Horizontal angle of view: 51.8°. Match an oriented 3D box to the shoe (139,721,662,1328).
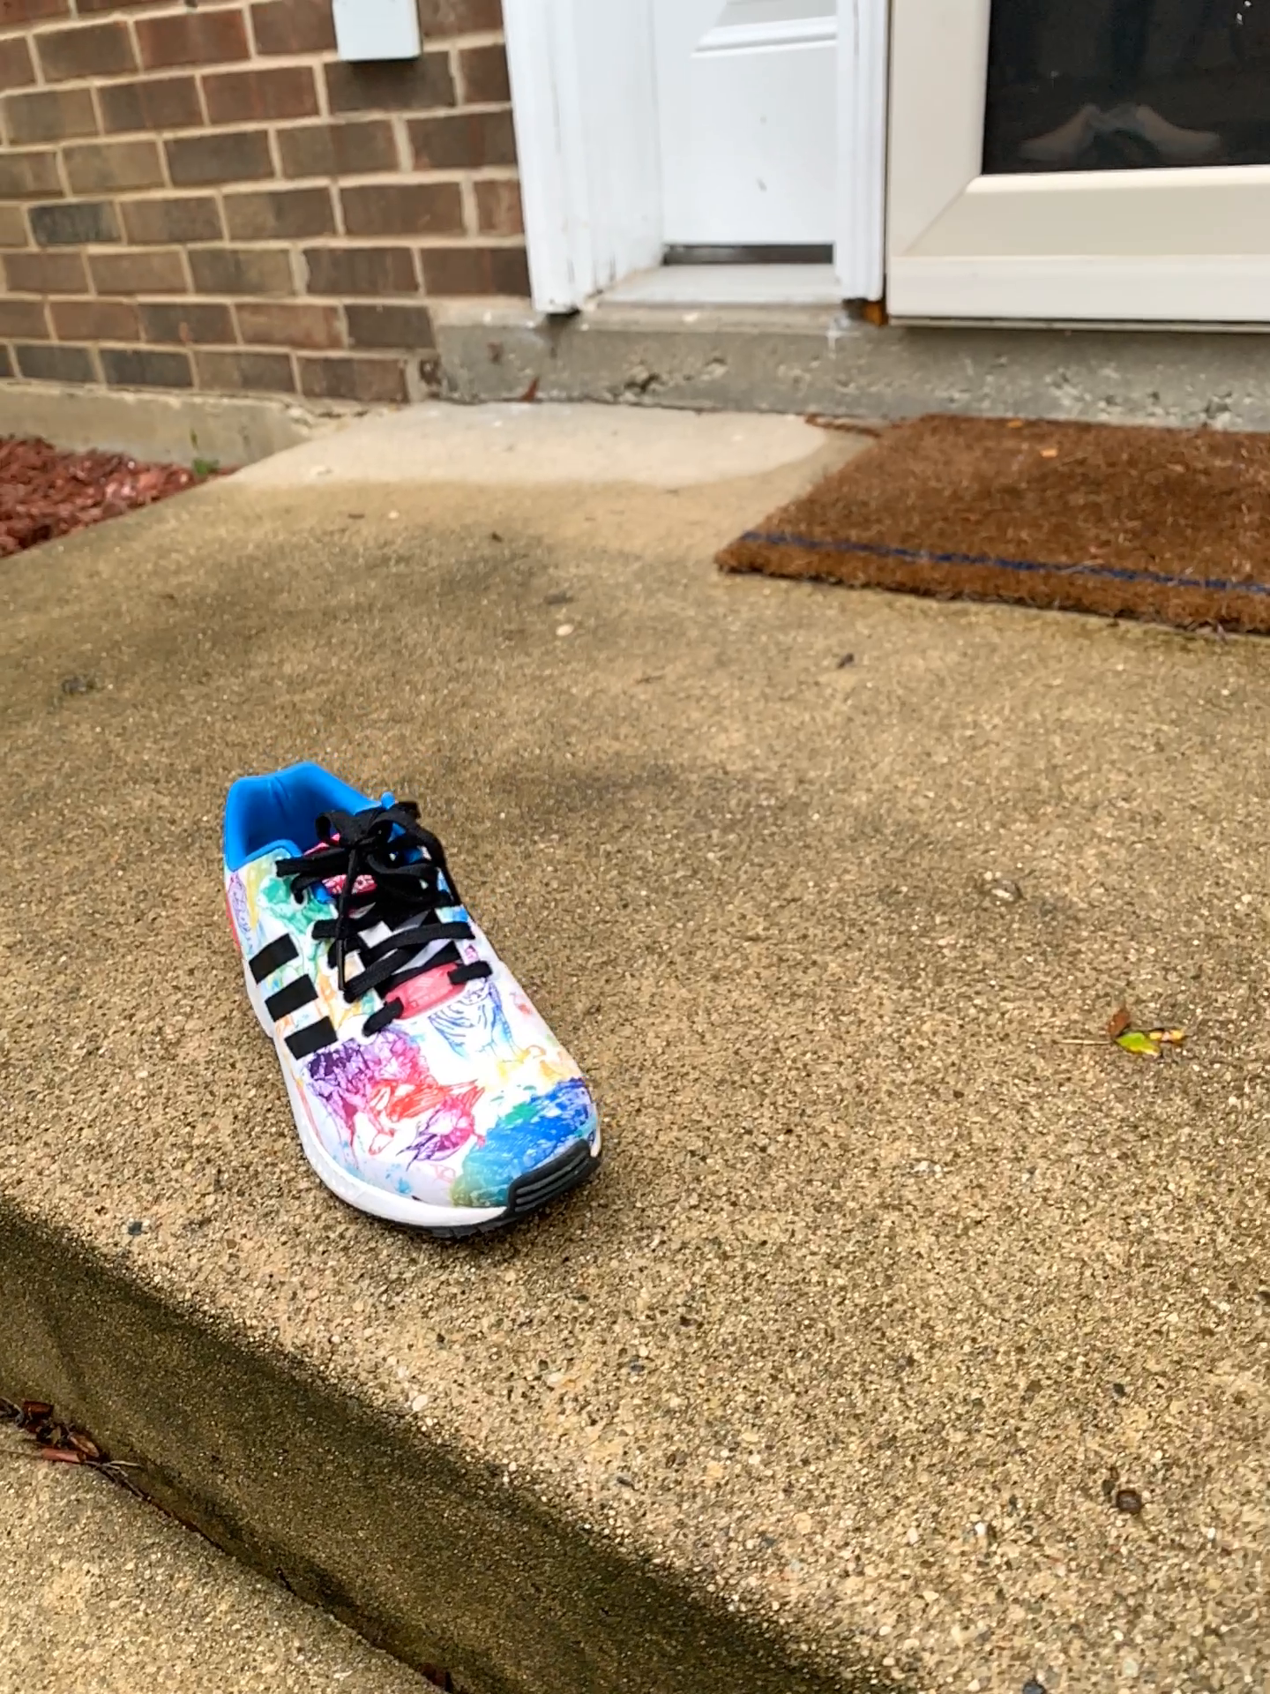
[{"bbox_3d":[-0.105,0.052,0.536,0.110,0.104,0.247,-21,34,-25],"label":"shoe"}]
